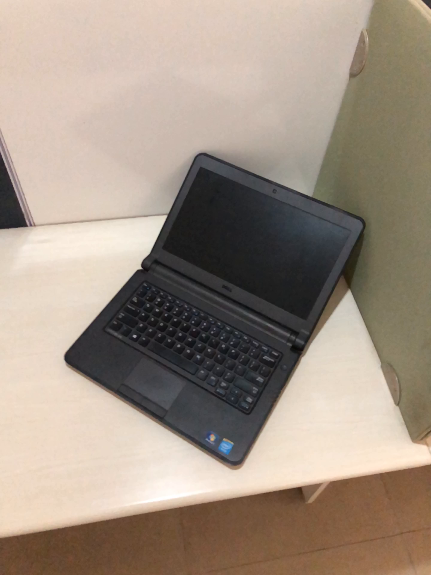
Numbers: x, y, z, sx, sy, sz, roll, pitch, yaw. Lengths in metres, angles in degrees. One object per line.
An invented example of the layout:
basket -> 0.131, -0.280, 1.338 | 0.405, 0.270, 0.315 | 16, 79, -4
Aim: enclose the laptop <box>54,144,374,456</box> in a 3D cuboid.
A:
laptop -> 0.010, -0.010, 0.750 | 0.309, 0.128, 0.395 | 27, 59, 18
